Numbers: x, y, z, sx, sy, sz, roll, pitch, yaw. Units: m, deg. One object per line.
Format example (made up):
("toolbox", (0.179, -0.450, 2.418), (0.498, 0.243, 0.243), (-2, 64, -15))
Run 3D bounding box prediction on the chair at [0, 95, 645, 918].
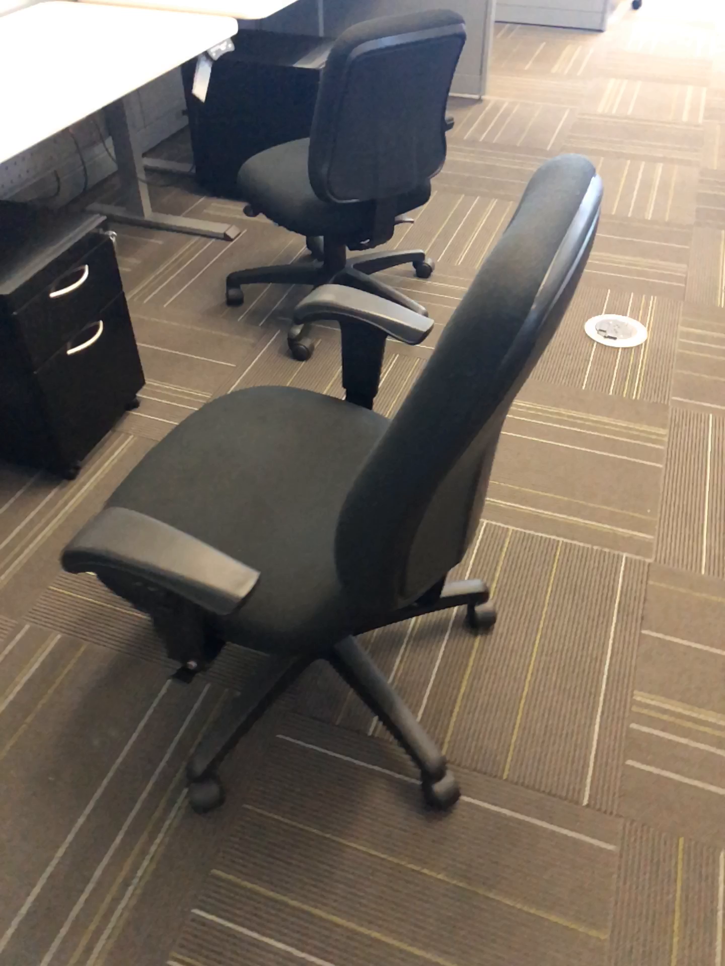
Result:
("chair", (-0.034, 0.023, 1.291), (0.681, 0.955, 0.743), (13, 43, 14))
